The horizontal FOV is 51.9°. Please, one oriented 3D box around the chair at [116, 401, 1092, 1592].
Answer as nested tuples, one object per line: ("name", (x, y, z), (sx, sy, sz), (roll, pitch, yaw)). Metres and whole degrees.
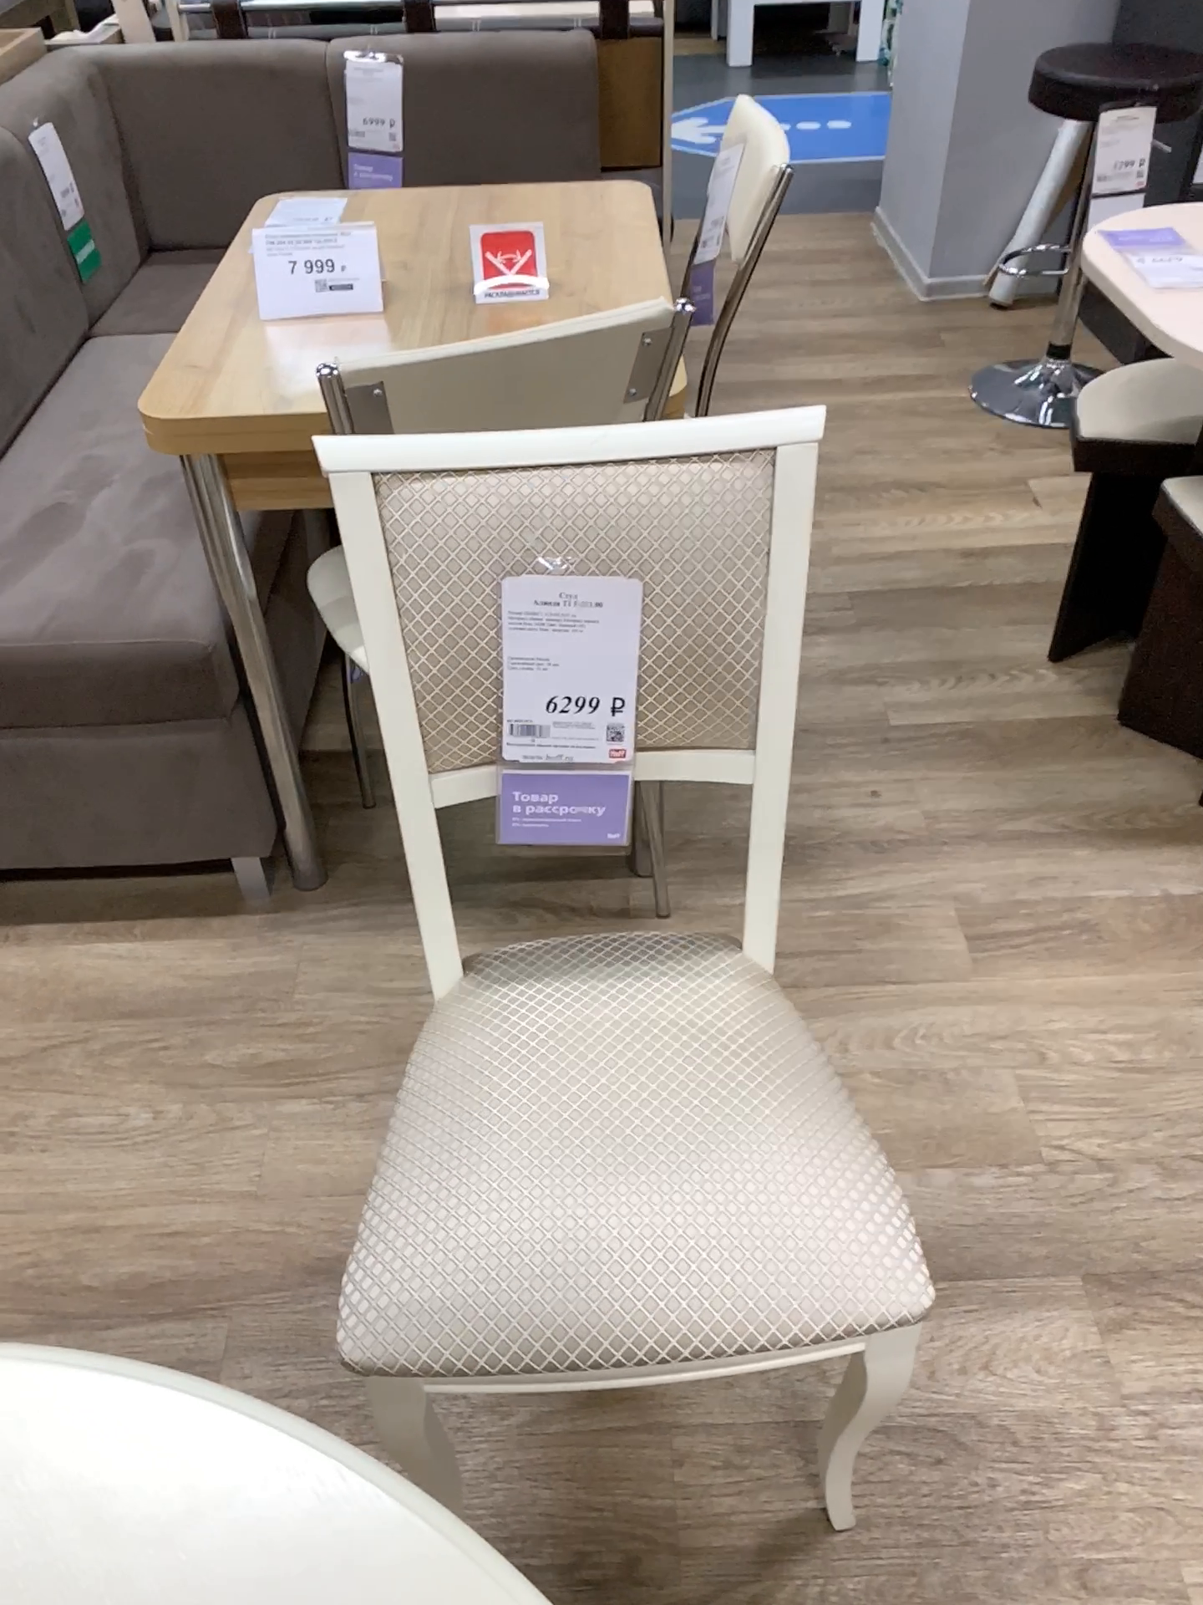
("chair", (-0.004, 0.218, 1.077), (0.460, 0.925, 0.513), (-5, 41, -3))
